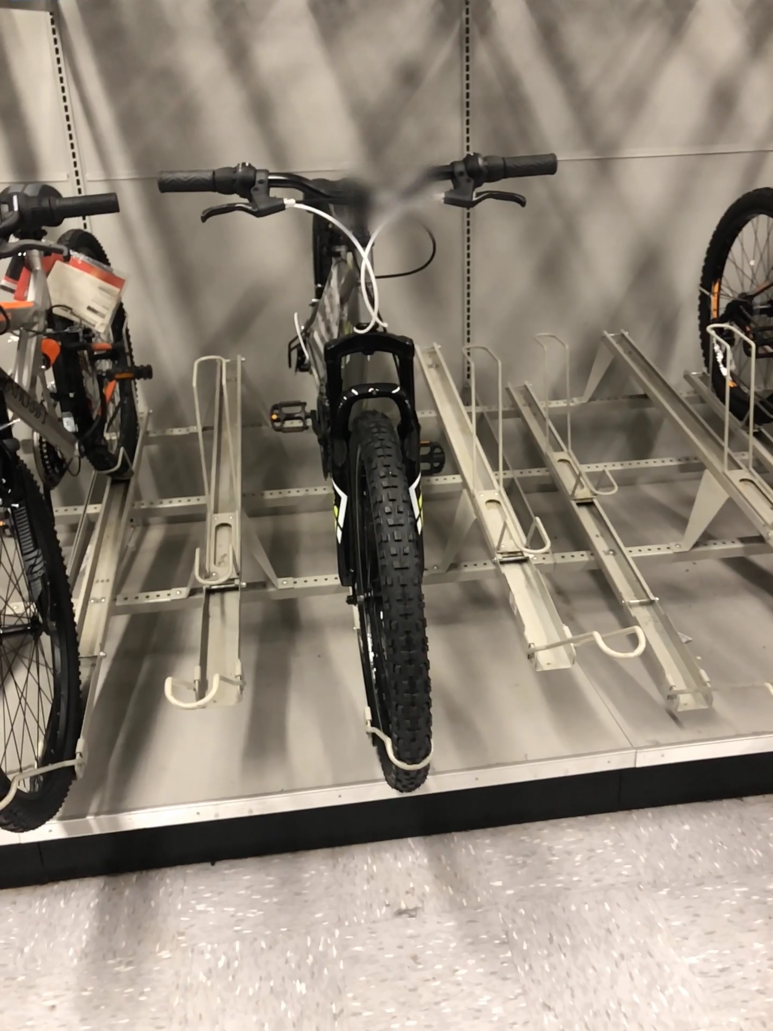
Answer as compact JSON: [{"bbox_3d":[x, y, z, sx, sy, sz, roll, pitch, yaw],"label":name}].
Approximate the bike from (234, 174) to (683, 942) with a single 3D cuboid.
[{"bbox_3d":[0.004,-0.165,1.971,0.607,0.728,1.726,-5,33,-5],"label":"bike"}]
